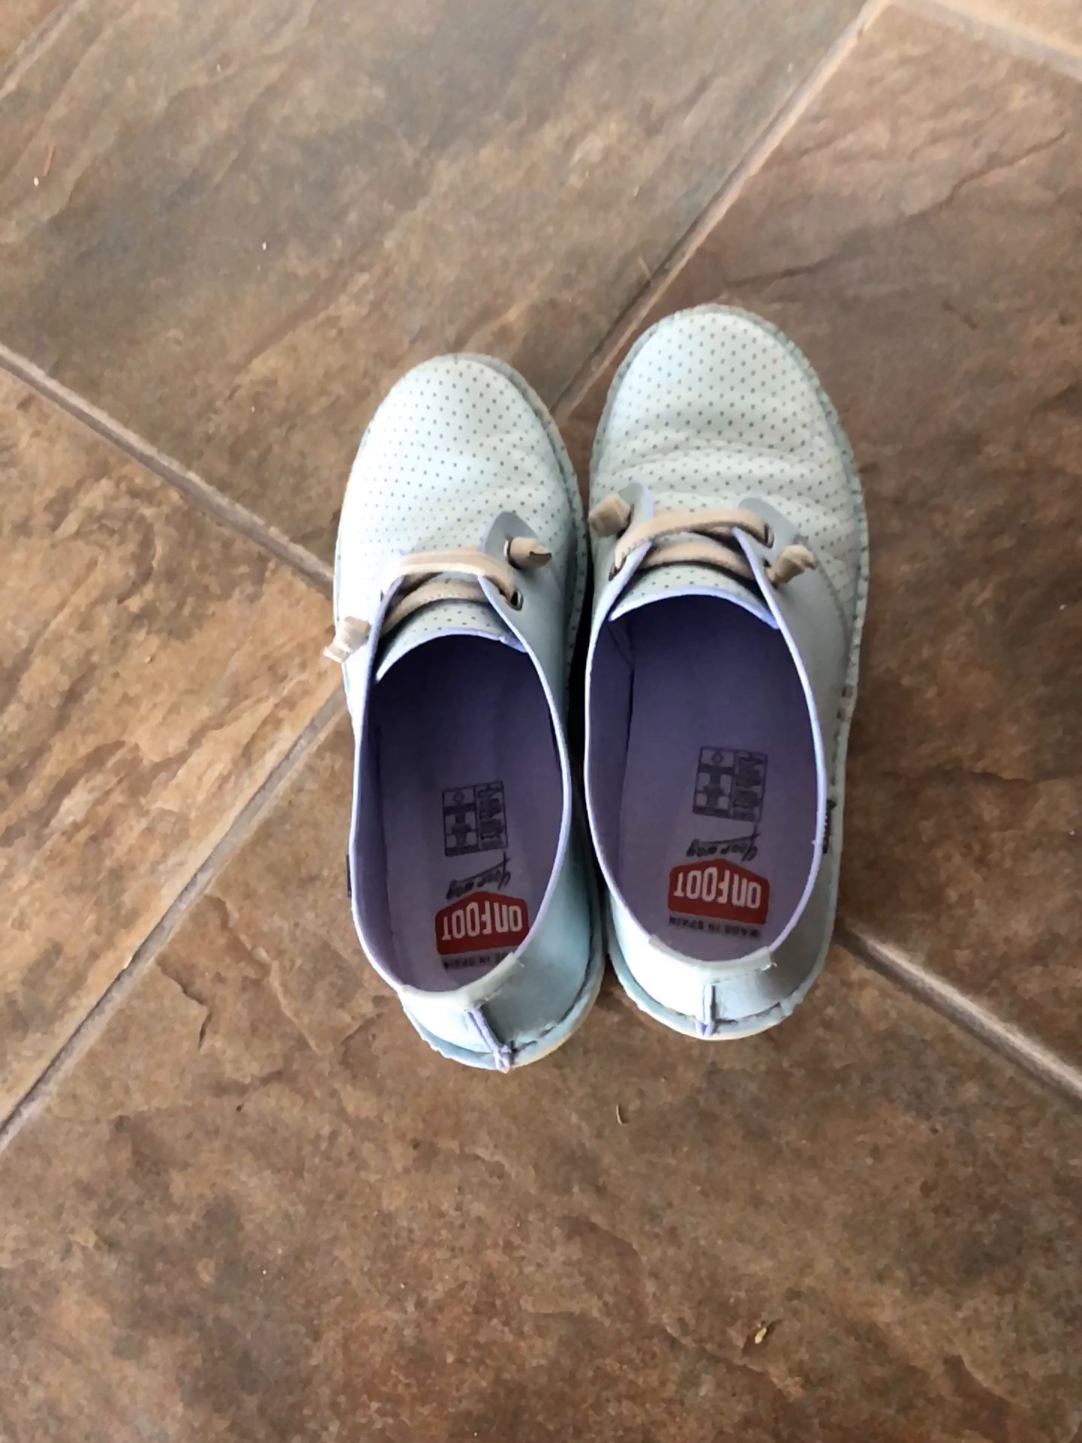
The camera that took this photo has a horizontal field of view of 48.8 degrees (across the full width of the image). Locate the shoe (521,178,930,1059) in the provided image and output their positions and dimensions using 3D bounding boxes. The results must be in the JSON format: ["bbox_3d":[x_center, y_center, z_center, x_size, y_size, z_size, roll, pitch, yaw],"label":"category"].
[{"bbox_3d":[0.058,-0.027,0.375,0.100,0.100,0.250,0,75,10],"label":"shoe"}]

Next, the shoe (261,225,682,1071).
[{"bbox_3d":[-0.022,-0.019,0.399,0.100,0.100,0.250,-8,73,8],"label":"shoe"}]
